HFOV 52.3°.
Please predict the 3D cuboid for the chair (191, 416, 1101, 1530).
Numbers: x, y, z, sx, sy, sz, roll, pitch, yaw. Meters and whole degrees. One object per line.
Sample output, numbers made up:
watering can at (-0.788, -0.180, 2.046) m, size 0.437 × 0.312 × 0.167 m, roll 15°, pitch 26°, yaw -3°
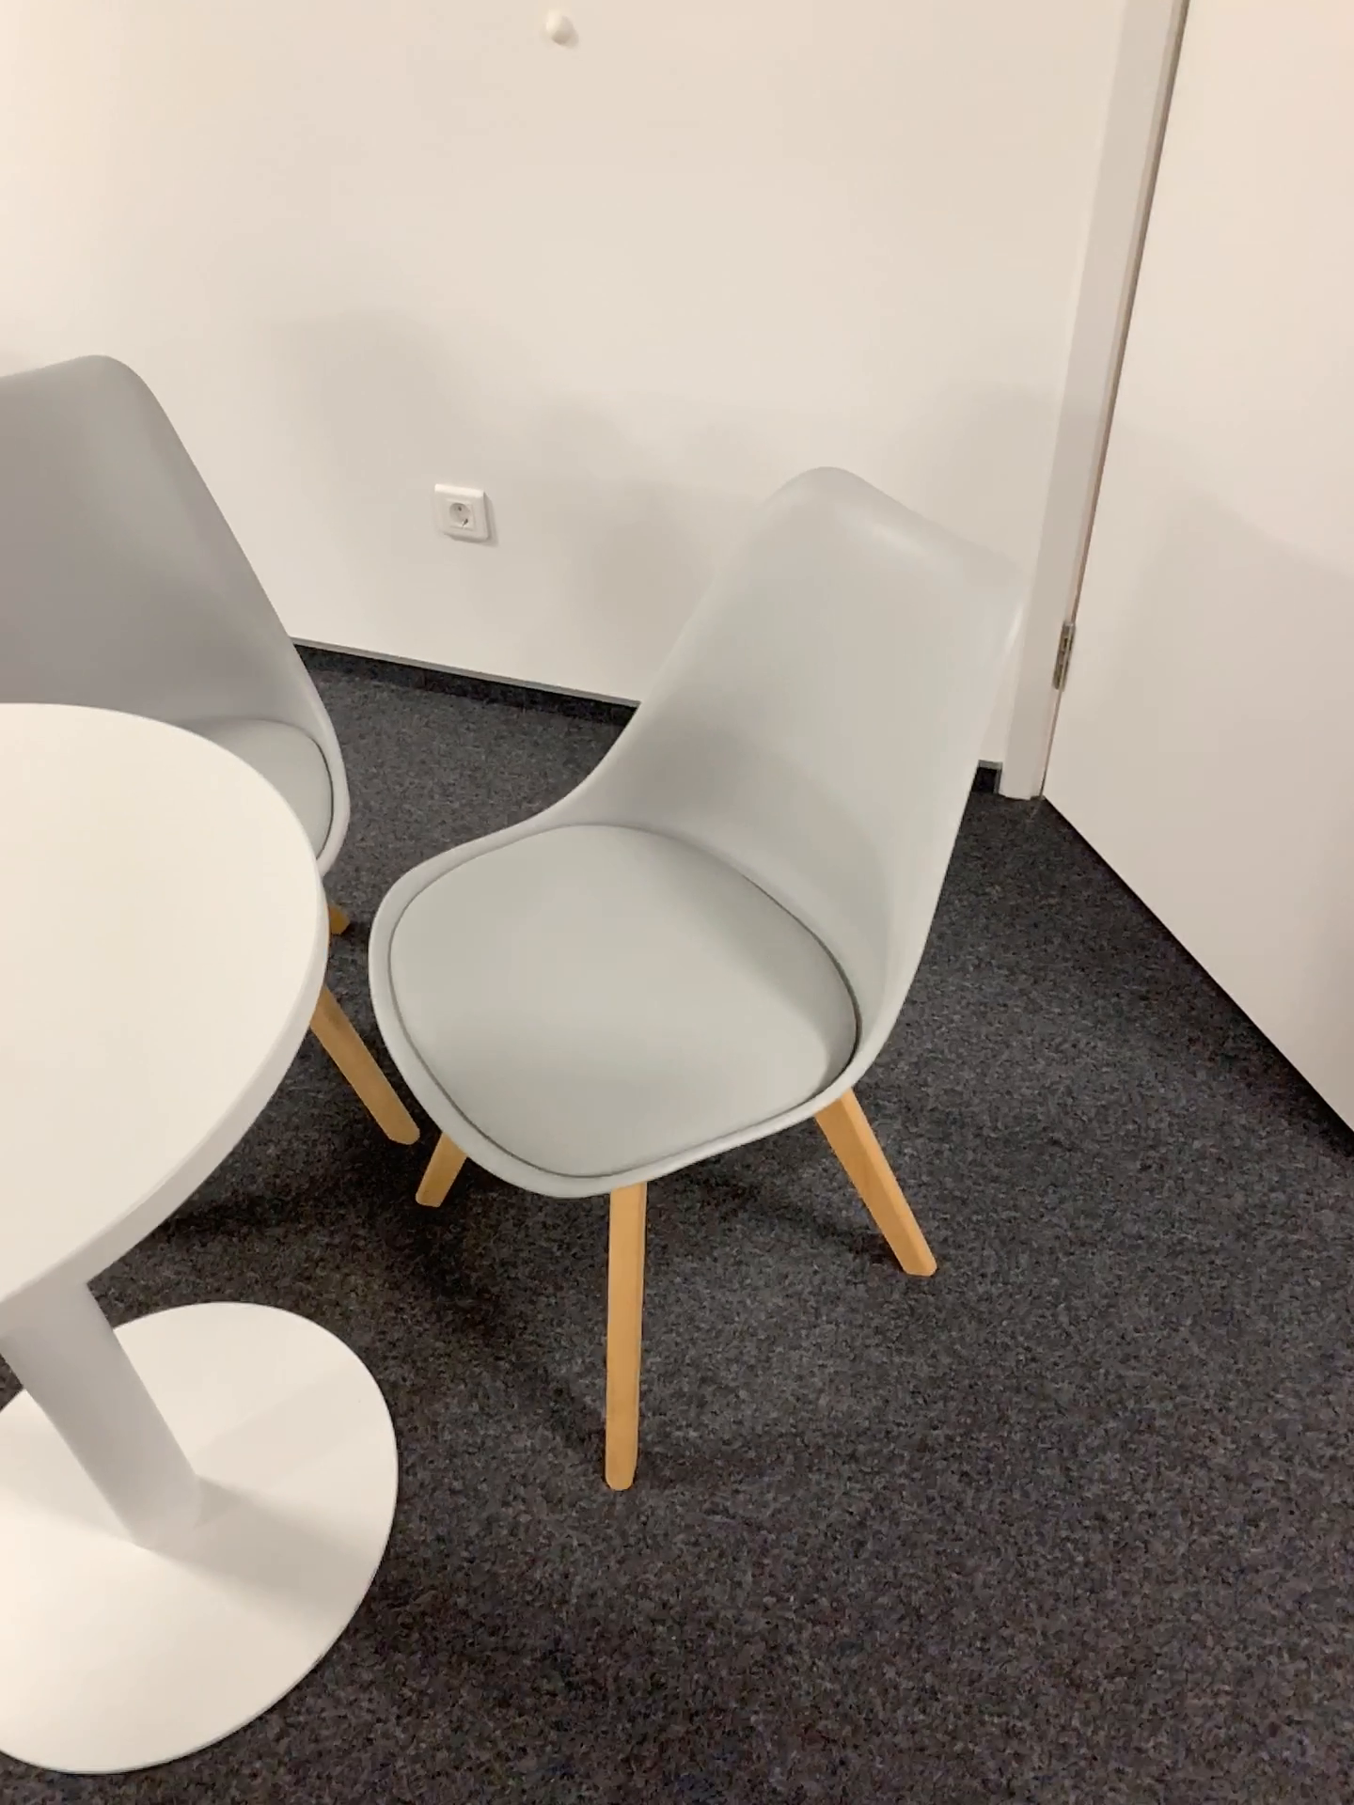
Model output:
chair at (-0.023, 0.077, 1.292) m, size 0.522 × 0.810 × 0.445 m, roll -24°, pitch 46°, yaw -23°
